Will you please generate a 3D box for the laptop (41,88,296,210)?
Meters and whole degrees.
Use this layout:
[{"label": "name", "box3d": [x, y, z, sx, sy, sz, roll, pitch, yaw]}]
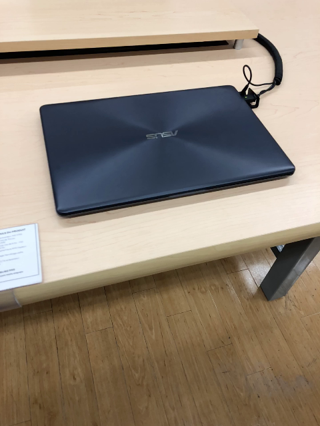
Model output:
[{"label": "laptop", "box3d": [0.004, -0.121, 0.555, 0.345, 0.002, 0.229, -11, 52, -14]}]
